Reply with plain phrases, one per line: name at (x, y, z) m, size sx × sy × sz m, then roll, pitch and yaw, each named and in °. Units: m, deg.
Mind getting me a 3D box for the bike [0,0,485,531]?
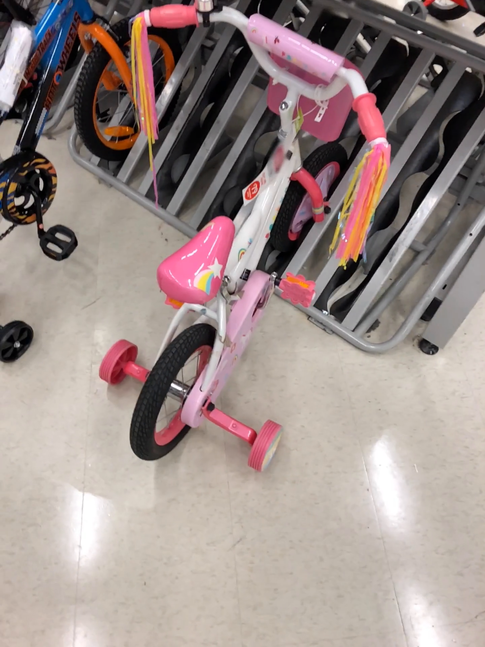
bike at (0.042, -0.223, 1.044) m, size 0.516 × 0.592 × 0.945 m, roll 26°, pitch 60°, yaw 13°
